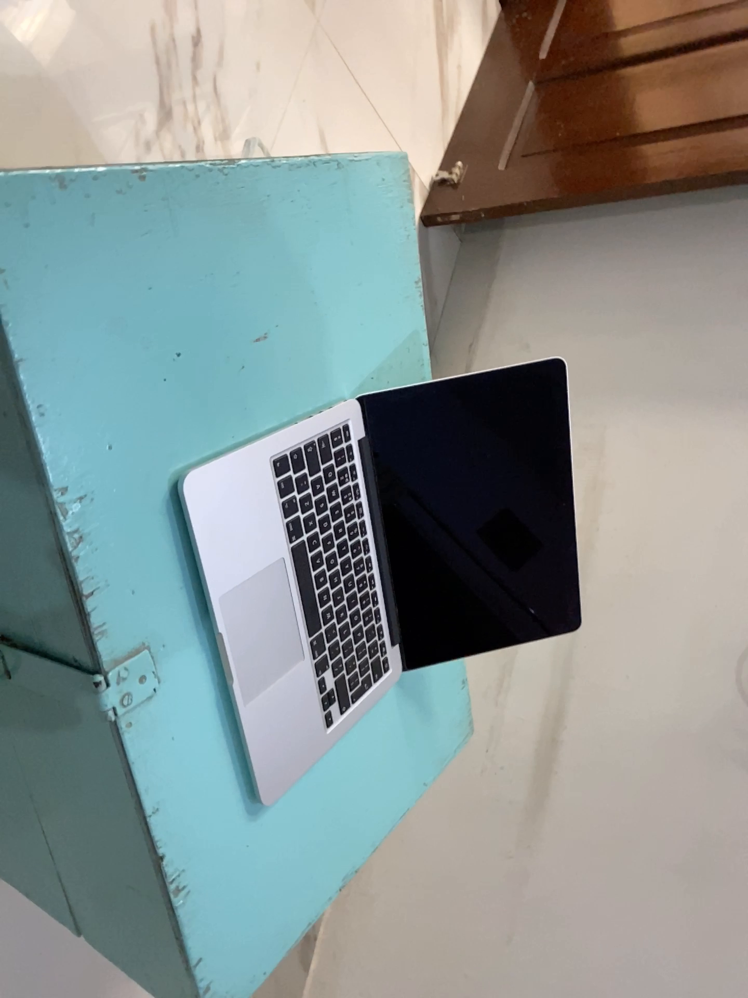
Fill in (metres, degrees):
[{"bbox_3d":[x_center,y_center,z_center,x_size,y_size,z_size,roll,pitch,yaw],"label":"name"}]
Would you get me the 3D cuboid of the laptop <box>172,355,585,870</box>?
[{"bbox_3d":[0.046,0.067,0.715,0.379,0.148,0.313,-34,121,-47],"label":"laptop"}]
